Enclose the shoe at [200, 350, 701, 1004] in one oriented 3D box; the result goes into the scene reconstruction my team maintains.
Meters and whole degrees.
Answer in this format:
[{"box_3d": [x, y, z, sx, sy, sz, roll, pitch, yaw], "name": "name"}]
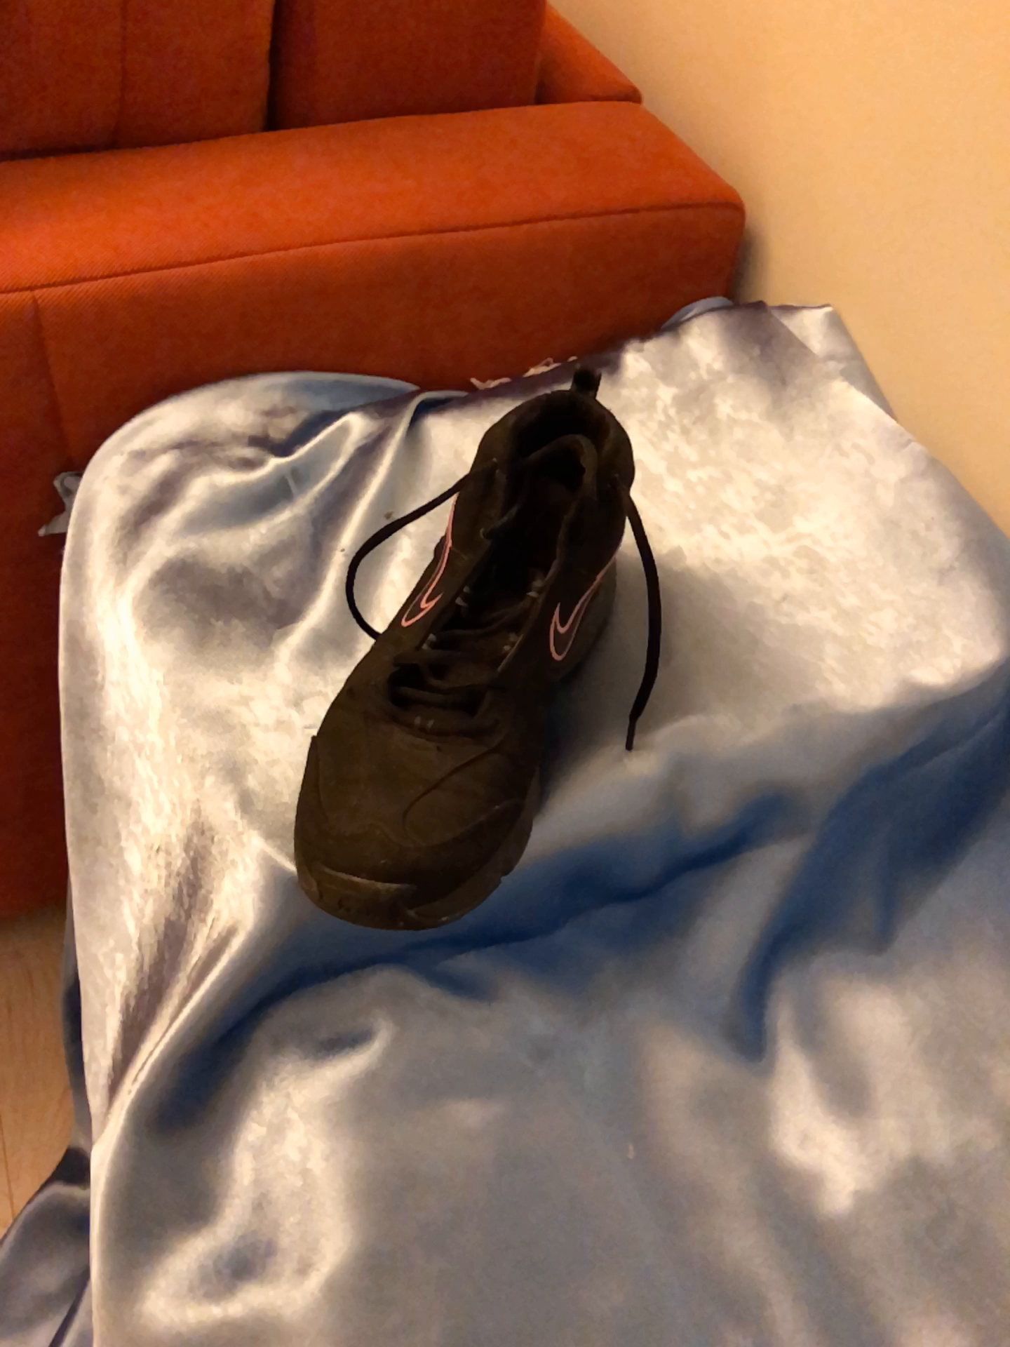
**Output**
[{"box_3d": [-0.009, -0.014, 0.478, 0.107, 0.099, 0.262, 19, 51, 9], "name": "shoe"}]
